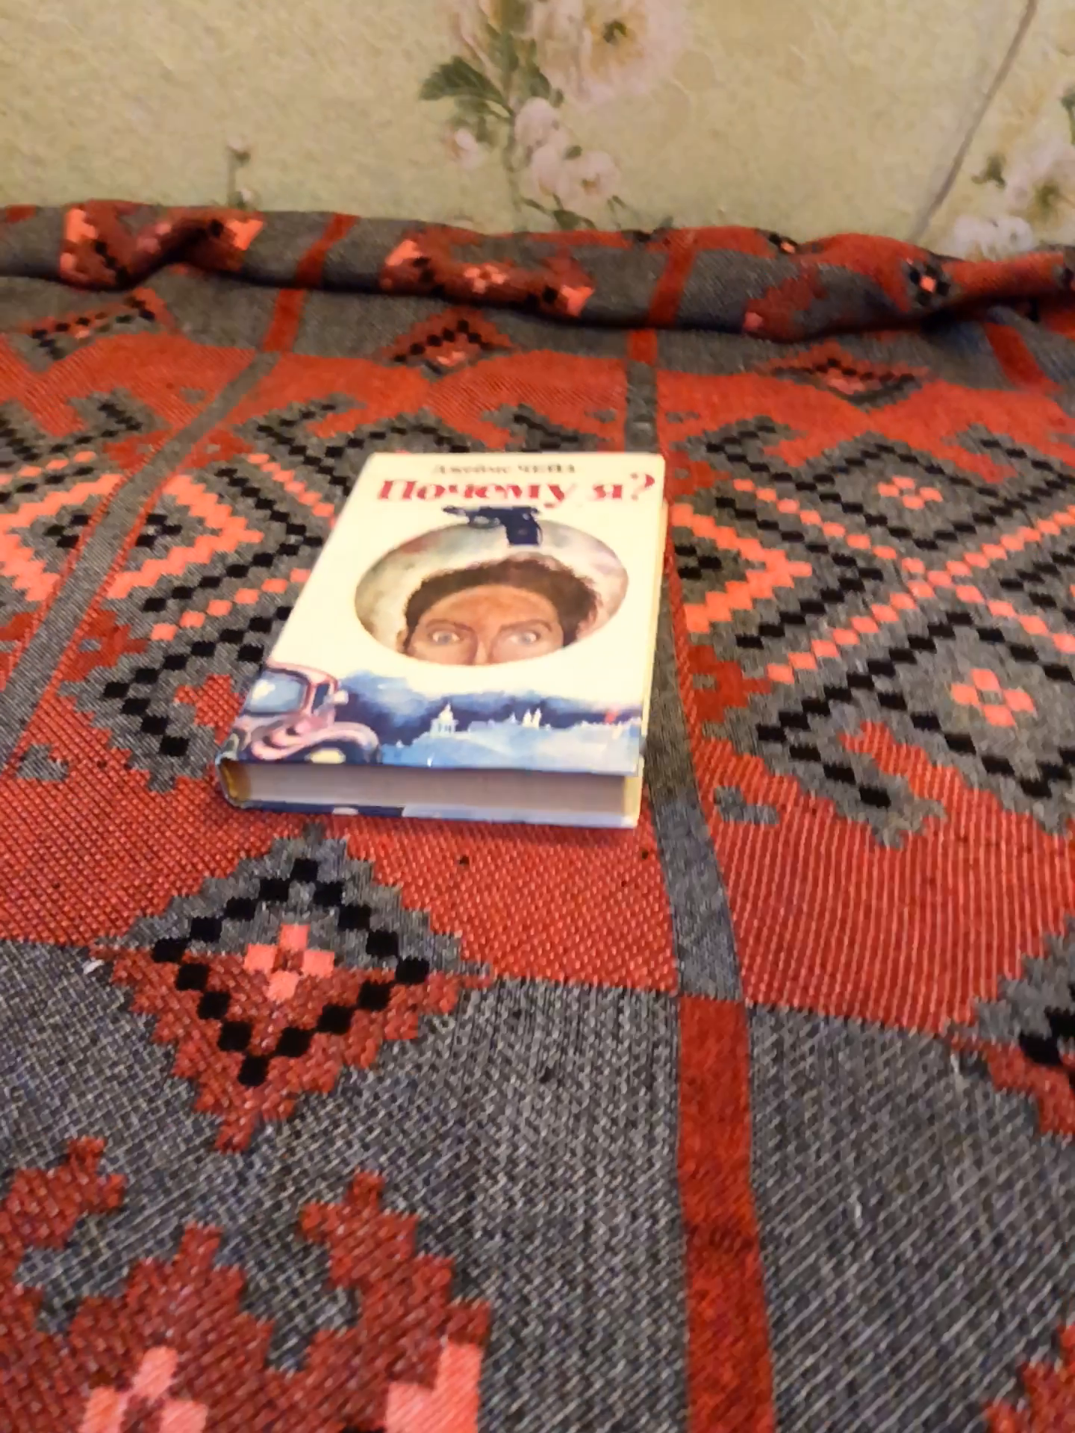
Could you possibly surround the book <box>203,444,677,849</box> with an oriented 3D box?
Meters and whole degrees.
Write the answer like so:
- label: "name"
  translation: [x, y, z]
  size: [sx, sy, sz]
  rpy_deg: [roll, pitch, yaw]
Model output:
- label: "book"
  translation: [-0.020, -0.039, 0.432]
  size: [0.133, 0.029, 0.205]
  rpy_deg: [2, 39, 7]
